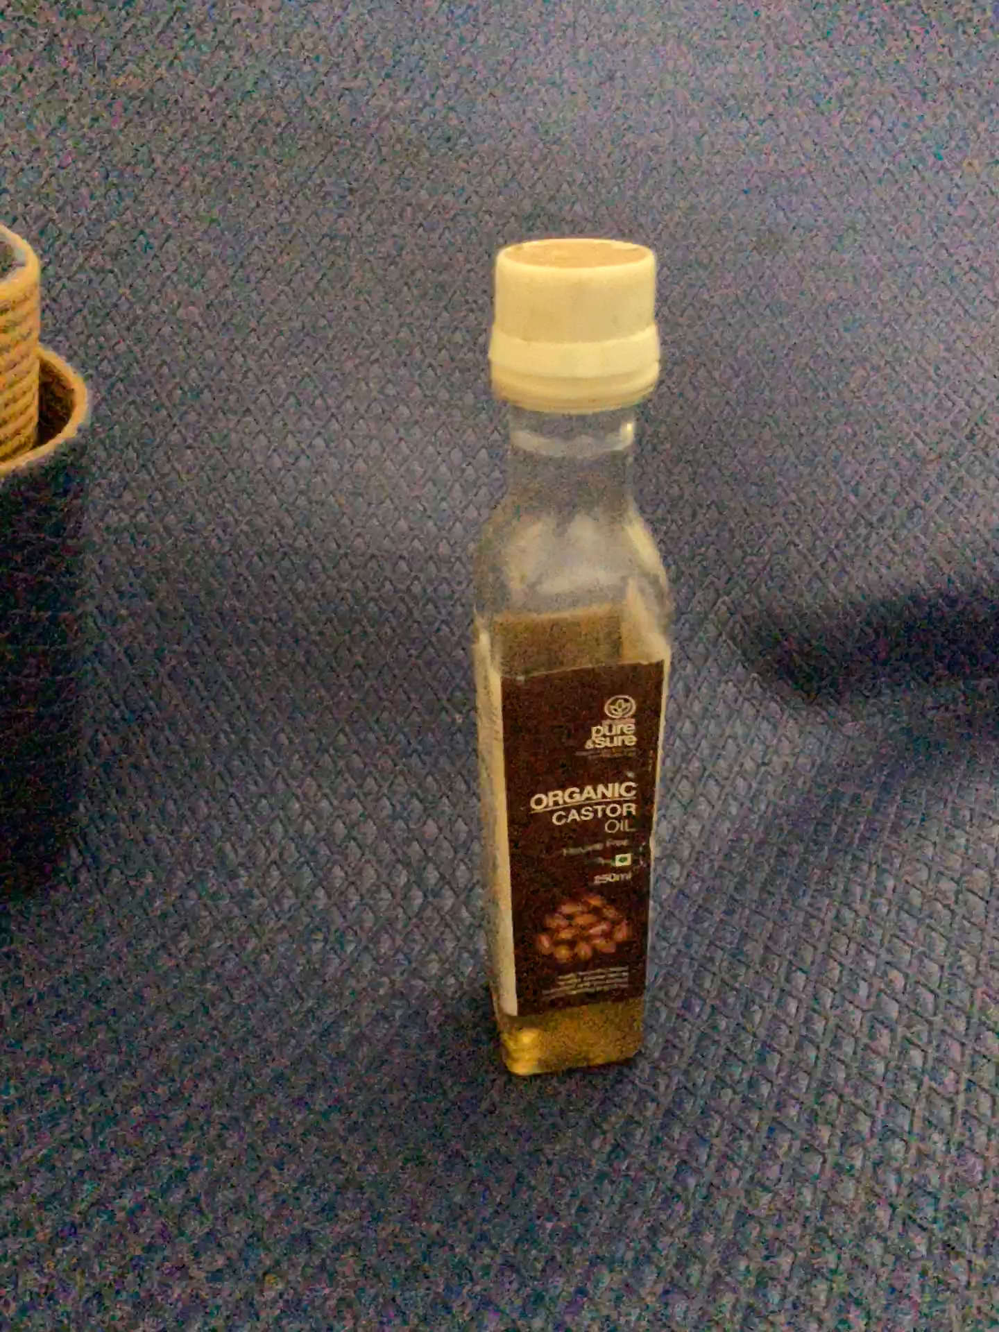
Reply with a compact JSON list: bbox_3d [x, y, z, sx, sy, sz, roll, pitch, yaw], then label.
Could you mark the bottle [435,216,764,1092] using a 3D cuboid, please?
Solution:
[{"bbox_3d":[0.018,0.007,0.241,0.050,0.198,0.050,-1,29,1],"label":"bottle"}]
